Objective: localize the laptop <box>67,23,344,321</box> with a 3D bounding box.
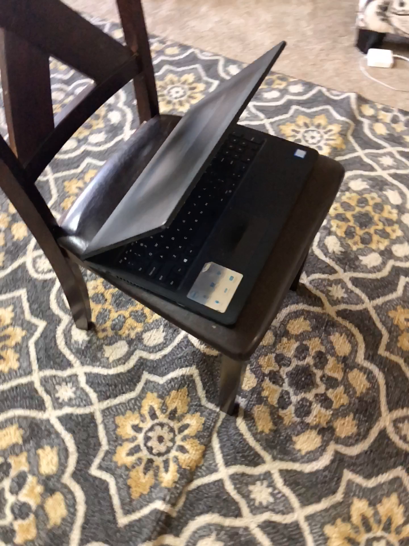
[{"bbox_3d":[0.020,-0.165,0.684,0.245,0.186,0.366,21,61,12],"label":"laptop"}]
